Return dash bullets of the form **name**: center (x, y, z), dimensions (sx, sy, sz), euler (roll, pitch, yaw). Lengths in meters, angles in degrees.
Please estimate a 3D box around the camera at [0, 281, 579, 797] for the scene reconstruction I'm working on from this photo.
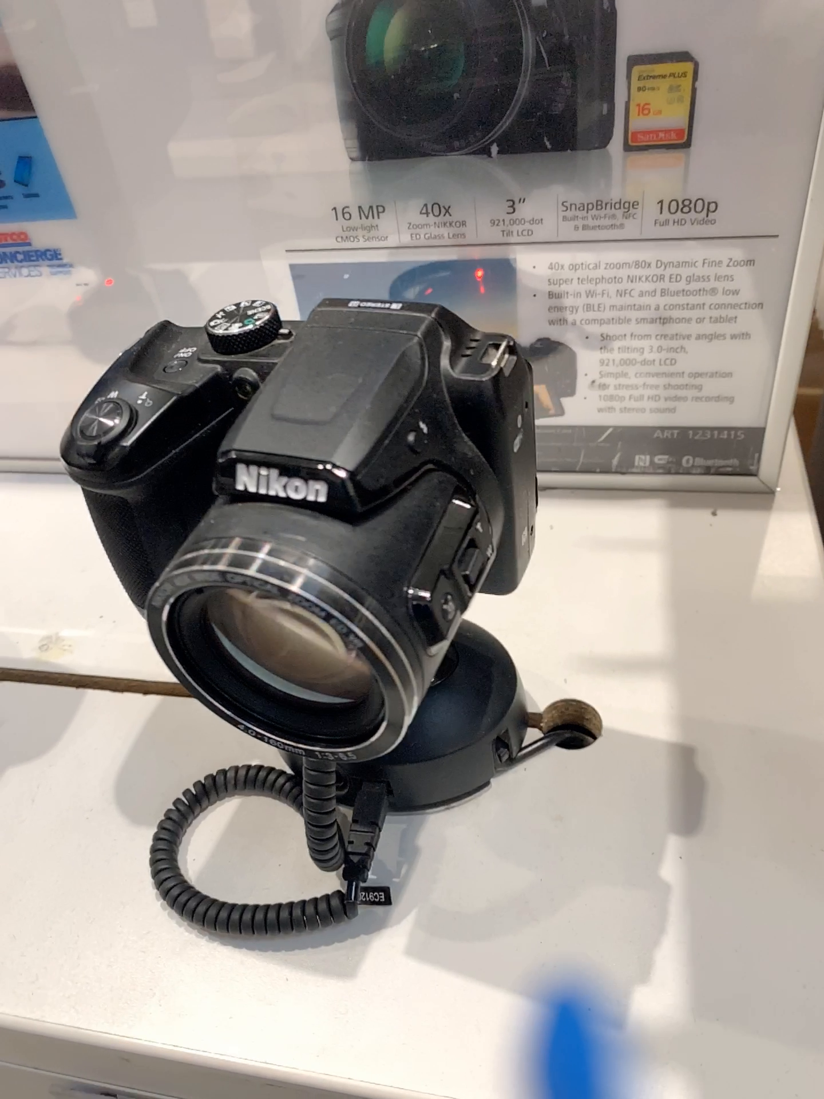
- **camera**: center (-0.022, -0.005, 0.196), dimensions (0.110, 0.089, 0.060), euler (6, 43, 17)
